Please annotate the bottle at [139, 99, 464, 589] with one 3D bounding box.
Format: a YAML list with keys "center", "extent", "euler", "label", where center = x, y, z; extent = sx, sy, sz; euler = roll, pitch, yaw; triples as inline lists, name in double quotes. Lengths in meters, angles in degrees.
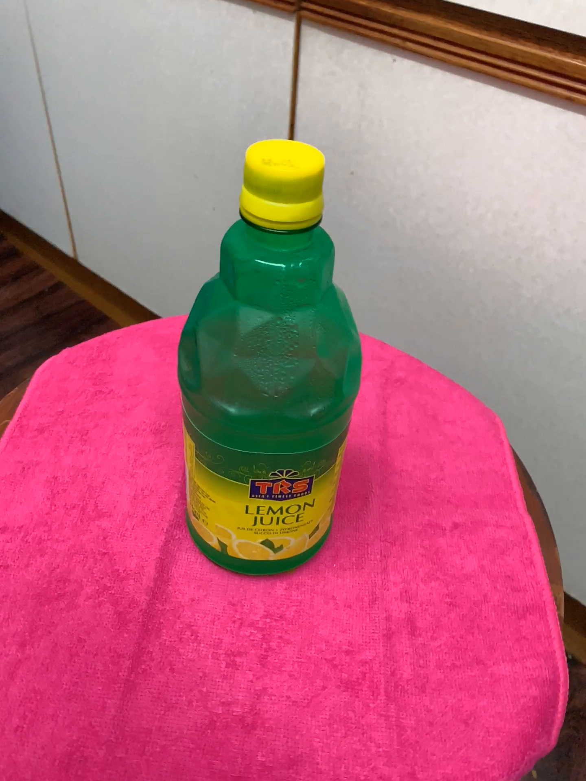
- center: [-0.011, -0.007, 0.299]
  extent: [0.100, 0.228, 0.091]
  euler: [-6, 46, -12]
  label: "bottle"
